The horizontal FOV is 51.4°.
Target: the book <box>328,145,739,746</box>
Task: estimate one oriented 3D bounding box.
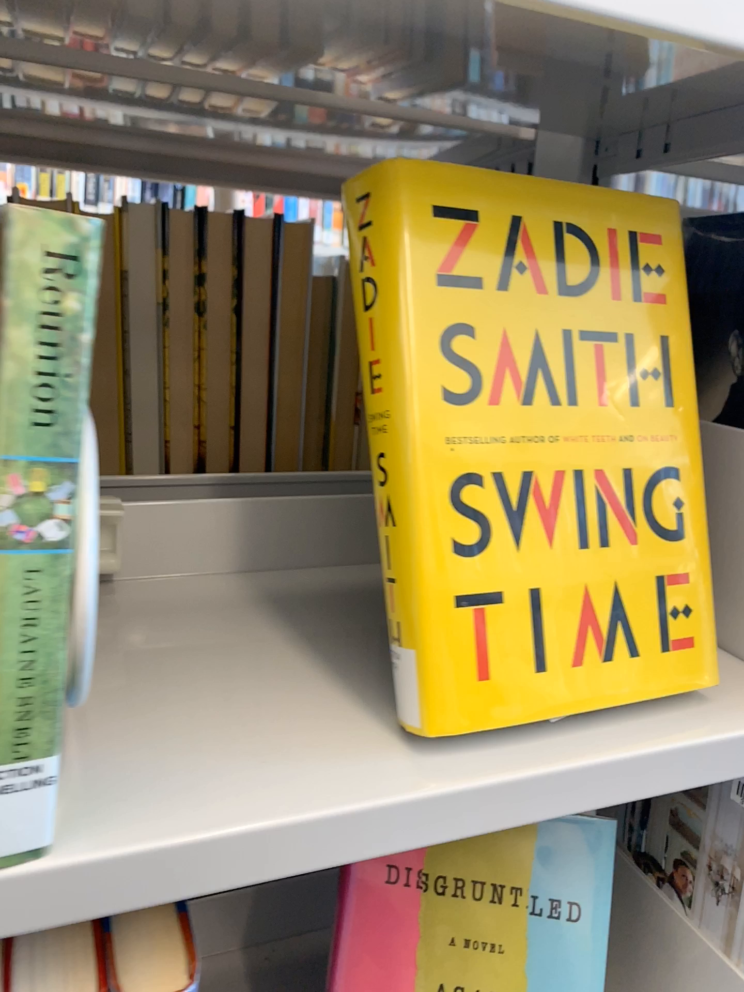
[{"bbox_3d":[0.075,-0.023,0.359,0.168,0.233,0.060,-2,-3,-25],"label":"book"}]
